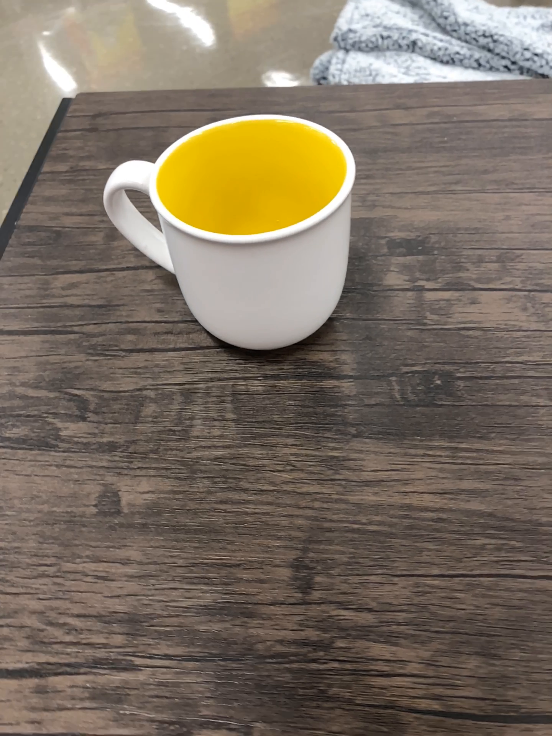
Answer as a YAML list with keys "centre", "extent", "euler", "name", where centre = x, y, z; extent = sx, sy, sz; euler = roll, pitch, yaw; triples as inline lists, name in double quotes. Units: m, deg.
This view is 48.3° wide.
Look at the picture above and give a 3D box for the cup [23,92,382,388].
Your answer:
- centre: [-0.027, -0.068, 0.318]
  extent: [0.140, 0.090, 0.100]
  euler: [10, 54, 12]
  name: "cup"
